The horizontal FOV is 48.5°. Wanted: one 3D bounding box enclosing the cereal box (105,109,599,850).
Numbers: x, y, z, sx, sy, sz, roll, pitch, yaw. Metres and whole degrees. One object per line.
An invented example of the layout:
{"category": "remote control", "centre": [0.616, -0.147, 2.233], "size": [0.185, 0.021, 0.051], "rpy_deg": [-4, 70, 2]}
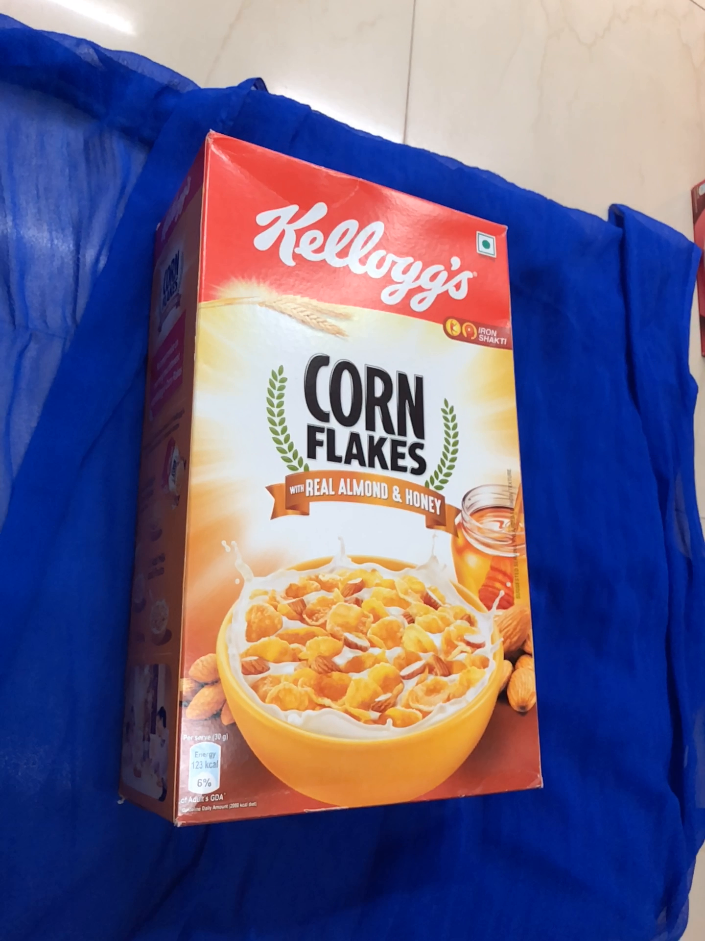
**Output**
{"category": "cereal box", "centre": [0.004, 0.008, 0.397], "size": [0.211, 0.090, 0.300], "rpy_deg": [8, 74, -28]}
